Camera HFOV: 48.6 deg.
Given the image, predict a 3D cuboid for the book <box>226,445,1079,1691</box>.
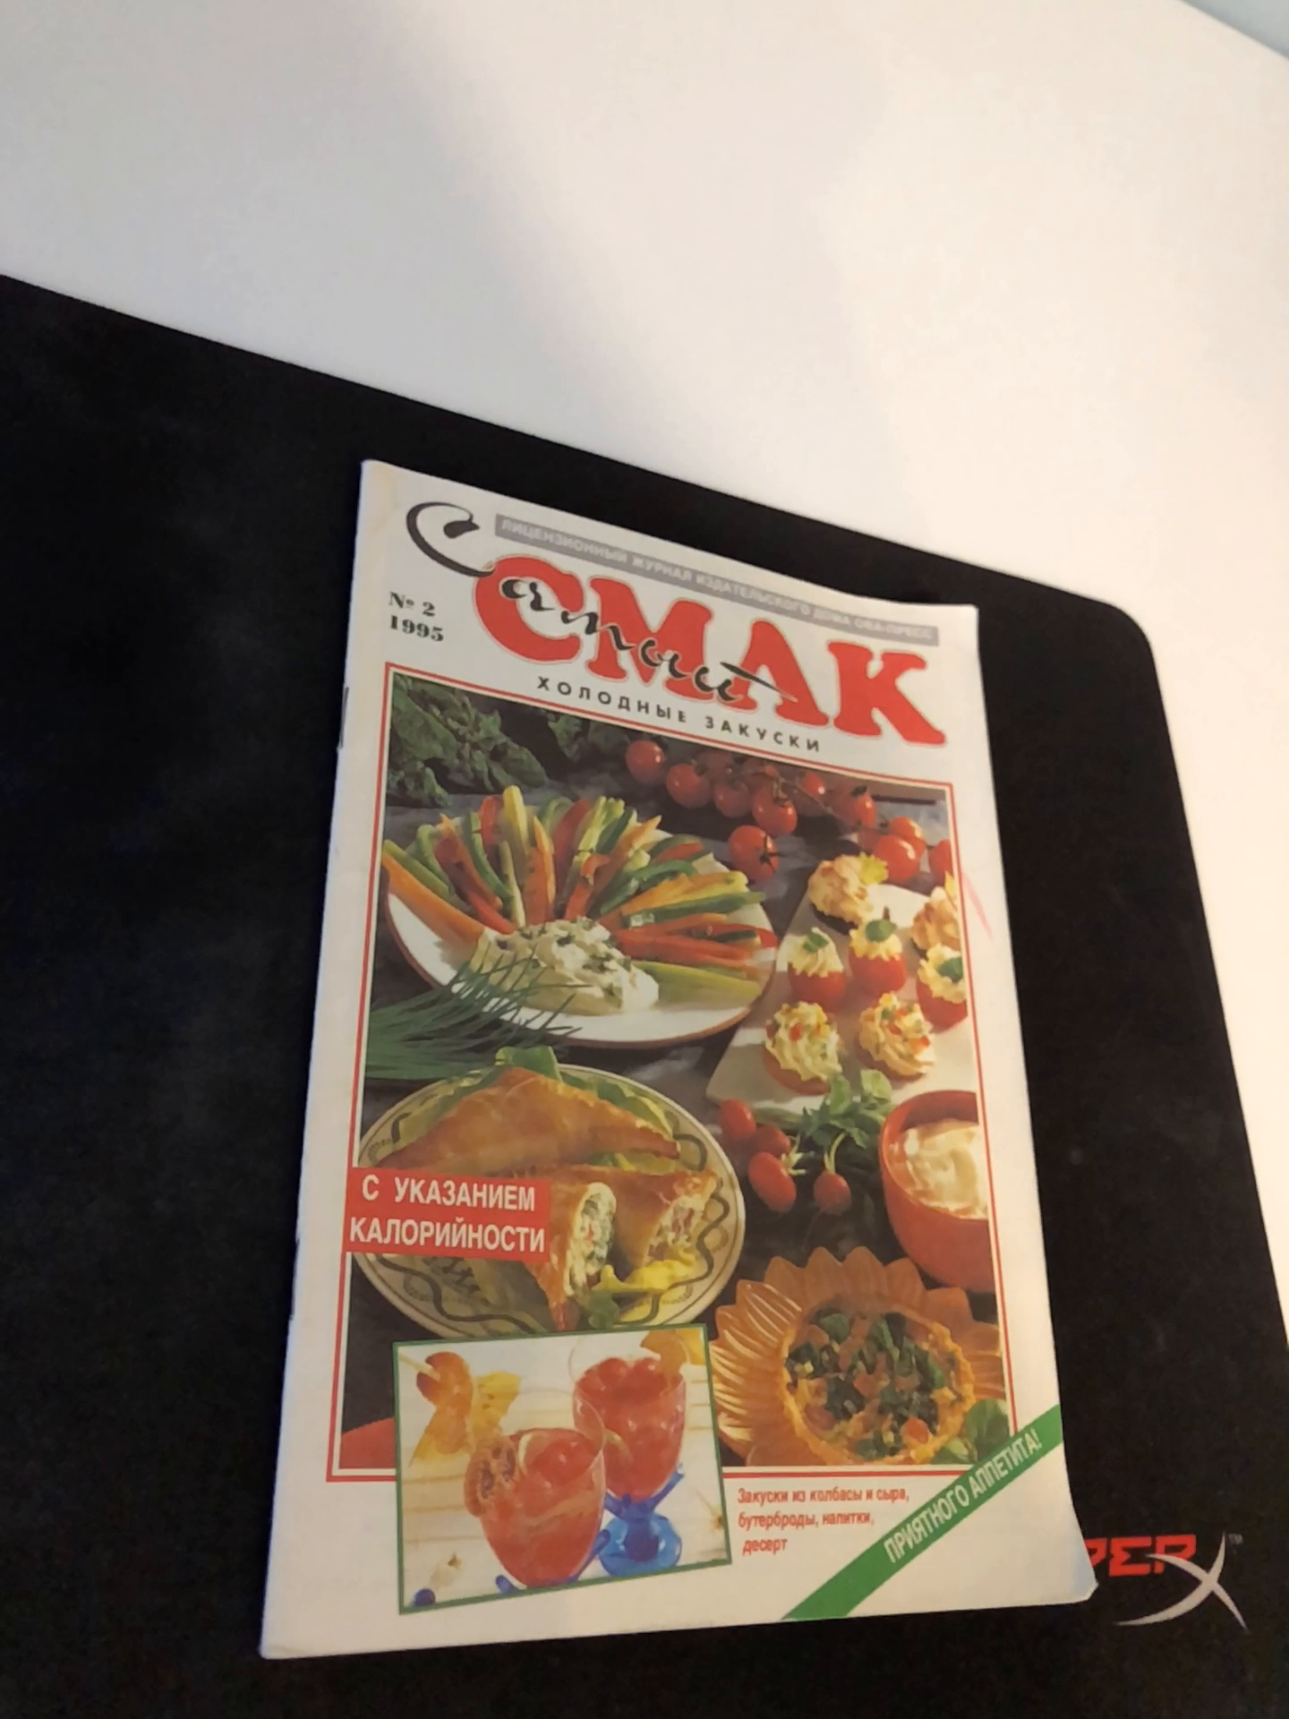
[{"bbox_3d":[0.008,0.032,0.294,0.160,0.010,0.231,10,64,-24],"label":"book"}]
